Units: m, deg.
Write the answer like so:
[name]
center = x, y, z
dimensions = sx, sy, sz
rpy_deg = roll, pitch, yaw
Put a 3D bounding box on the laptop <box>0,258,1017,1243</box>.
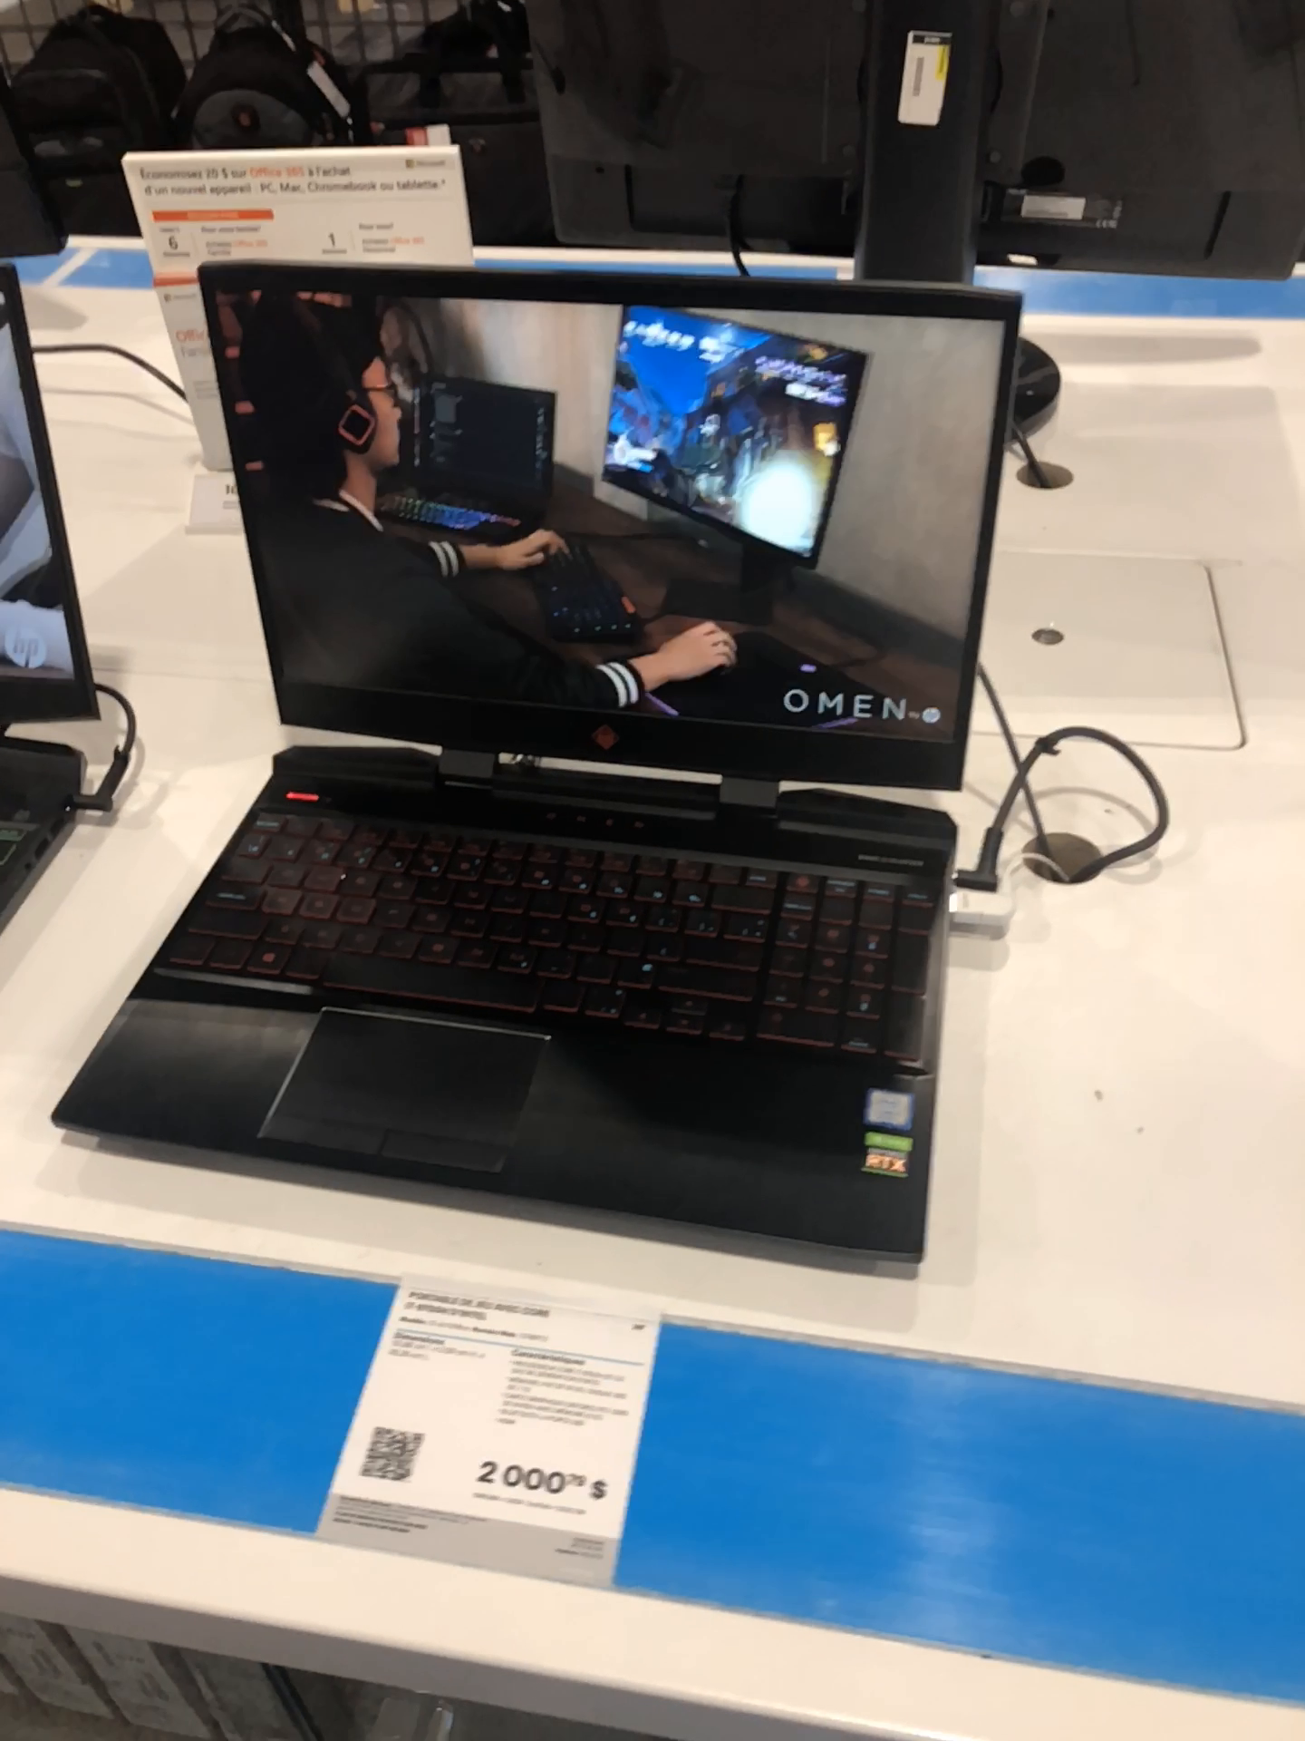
[laptop]
center = -0.050, -0.068, 0.596
dimensions = 0.355, 0.239, 0.294
rpy_deg = 6, 44, 10
